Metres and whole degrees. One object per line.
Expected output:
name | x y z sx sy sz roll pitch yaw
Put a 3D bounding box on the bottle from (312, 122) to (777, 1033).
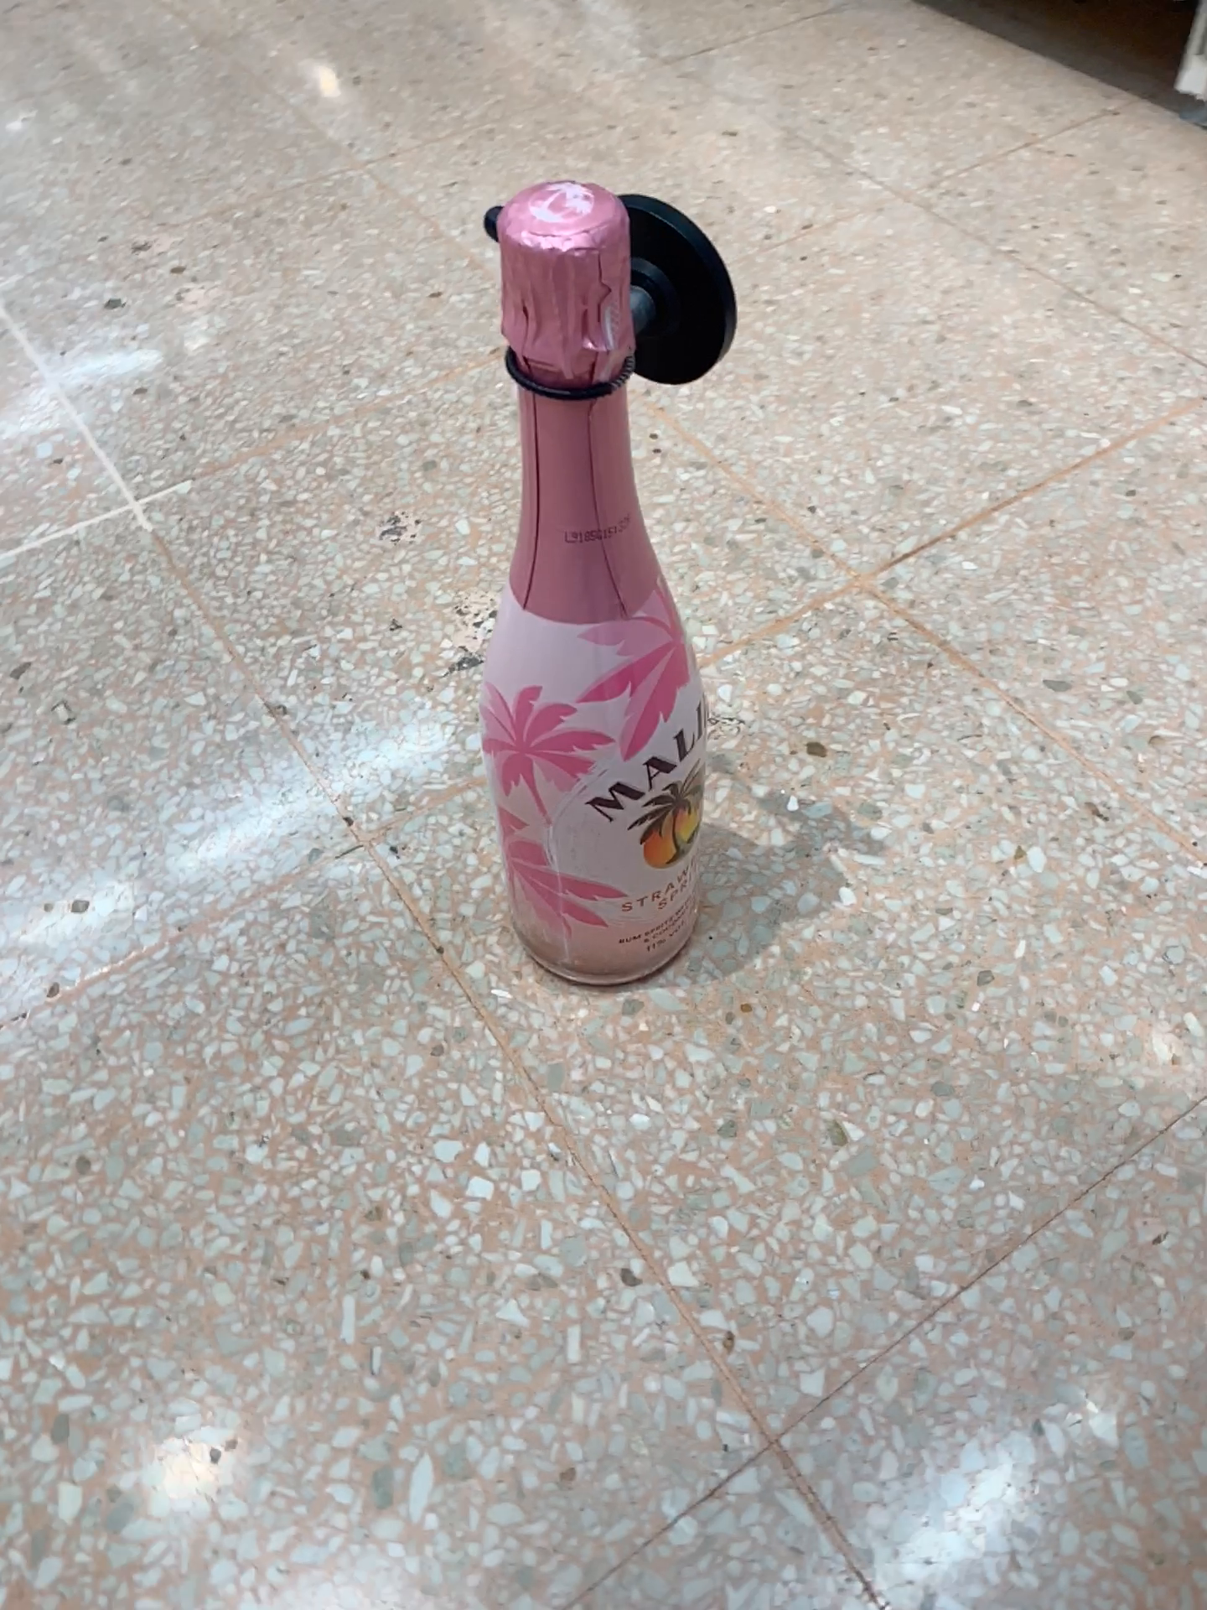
bottle | -0.008 -0.046 0.420 0.080 0.307 0.080 -1 52 2
